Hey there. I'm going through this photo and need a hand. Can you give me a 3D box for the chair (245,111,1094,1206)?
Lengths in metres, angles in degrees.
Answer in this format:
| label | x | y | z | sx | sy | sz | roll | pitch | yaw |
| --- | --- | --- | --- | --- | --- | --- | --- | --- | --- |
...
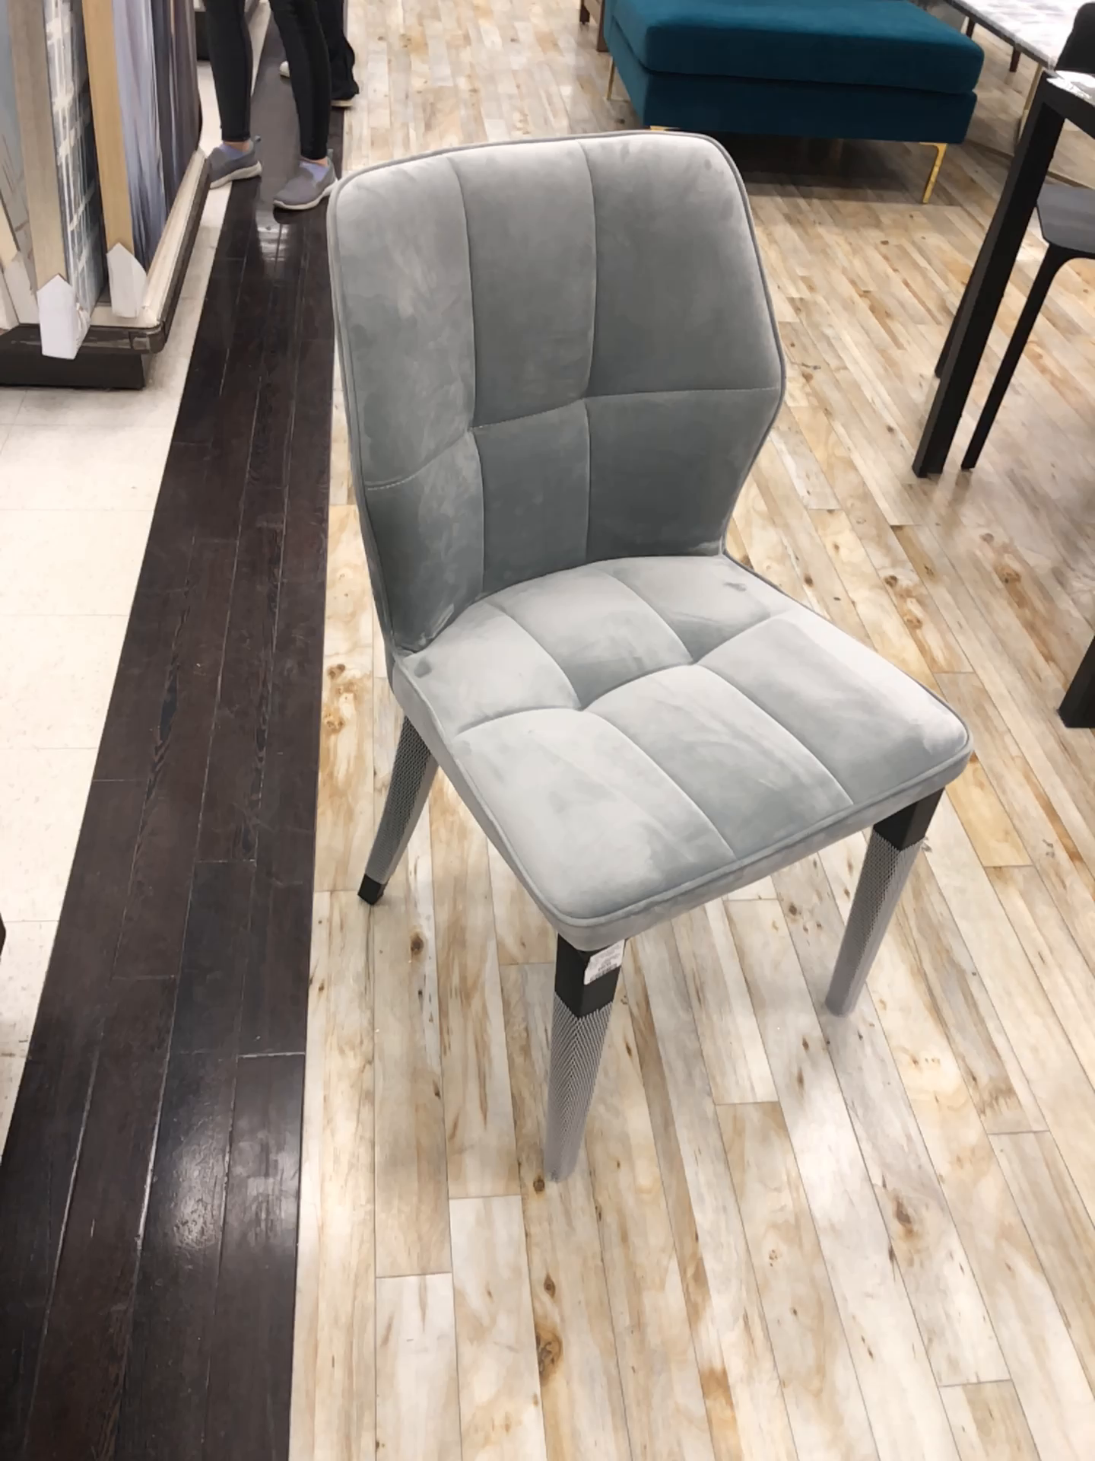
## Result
| label | x | y | z | sx | sy | sz | roll | pitch | yaw |
| --- | --- | --- | --- | --- | --- | --- | --- | --- | --- |
| chair | 0.086 | -0.080 | 1.238 | 0.531 | 0.837 | 0.571 | -20 | 48 | -27 |
